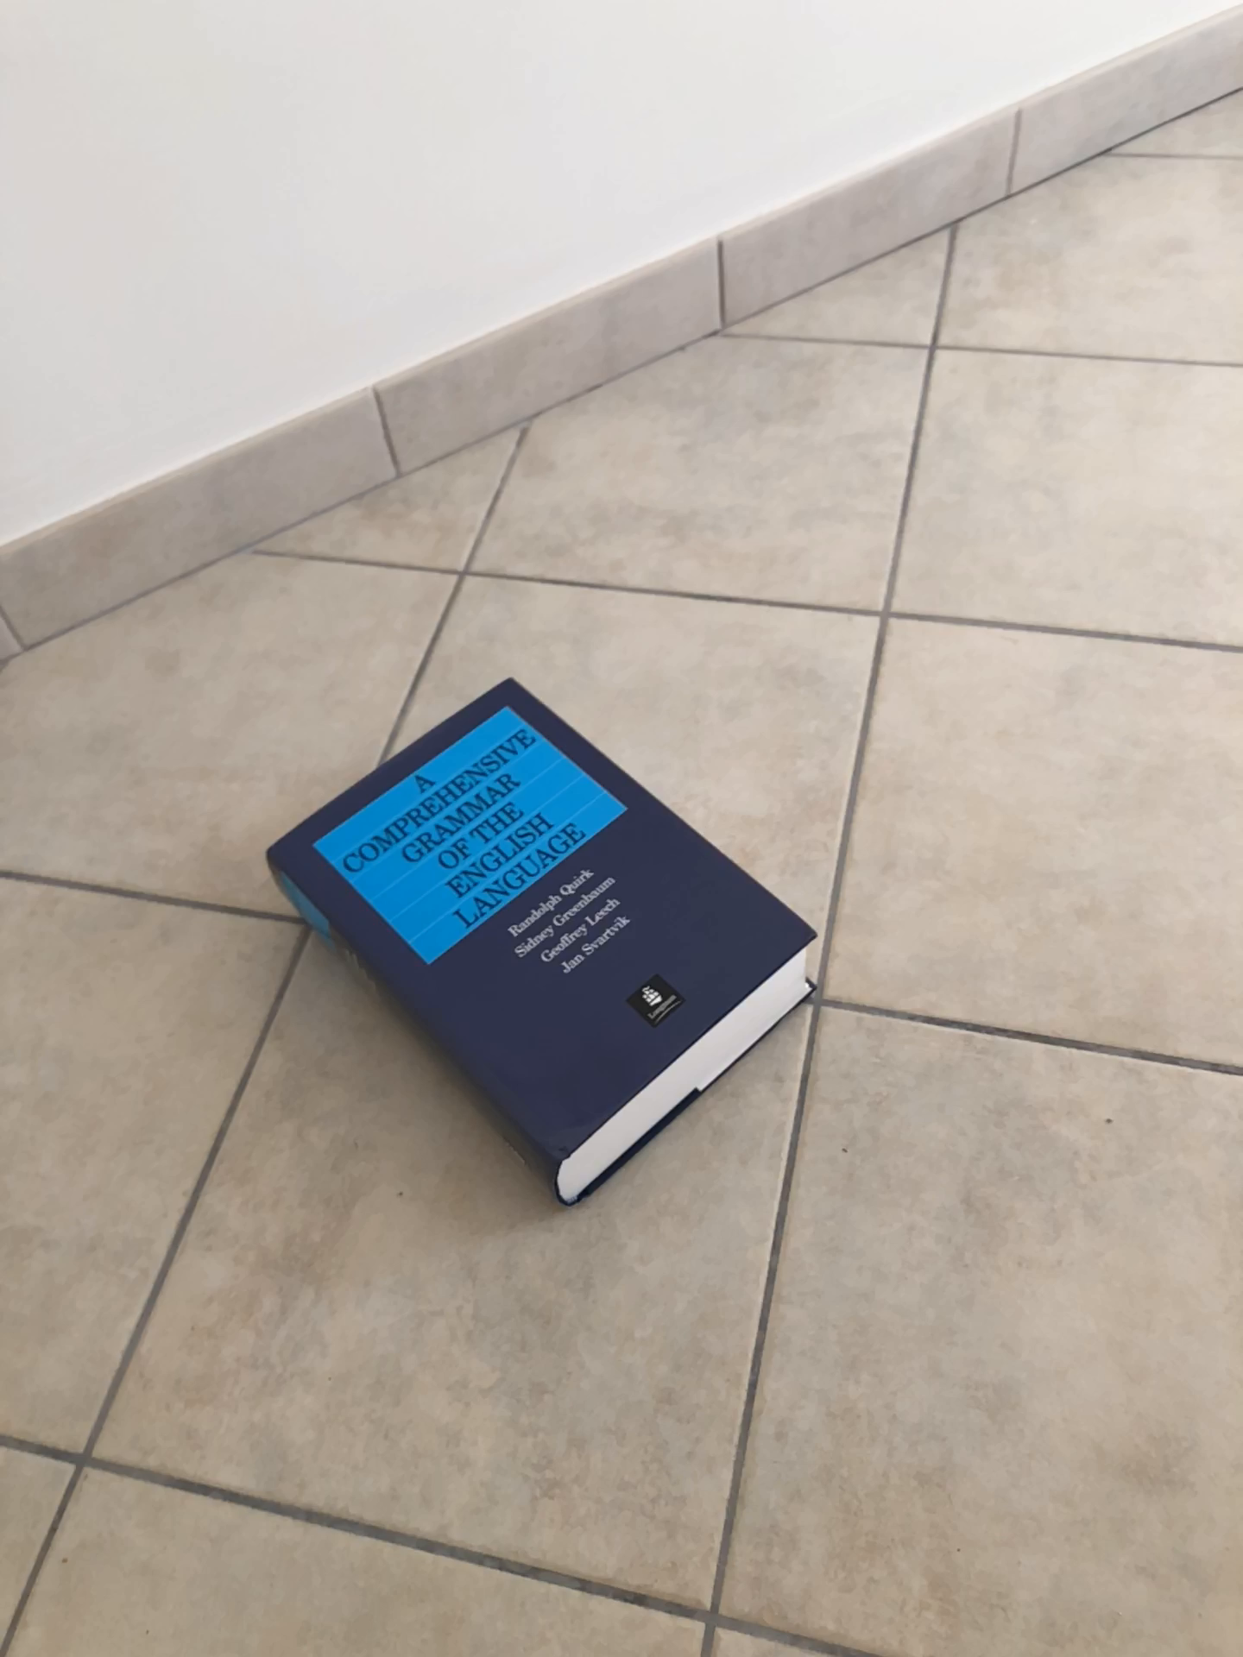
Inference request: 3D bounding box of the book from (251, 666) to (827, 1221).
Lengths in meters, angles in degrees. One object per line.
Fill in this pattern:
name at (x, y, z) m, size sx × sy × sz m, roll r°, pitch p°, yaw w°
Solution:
book at (-0.046, 0.049, 0.741) m, size 0.181 × 0.067 × 0.257 m, roll -39°, pitch 59°, yaw -20°
